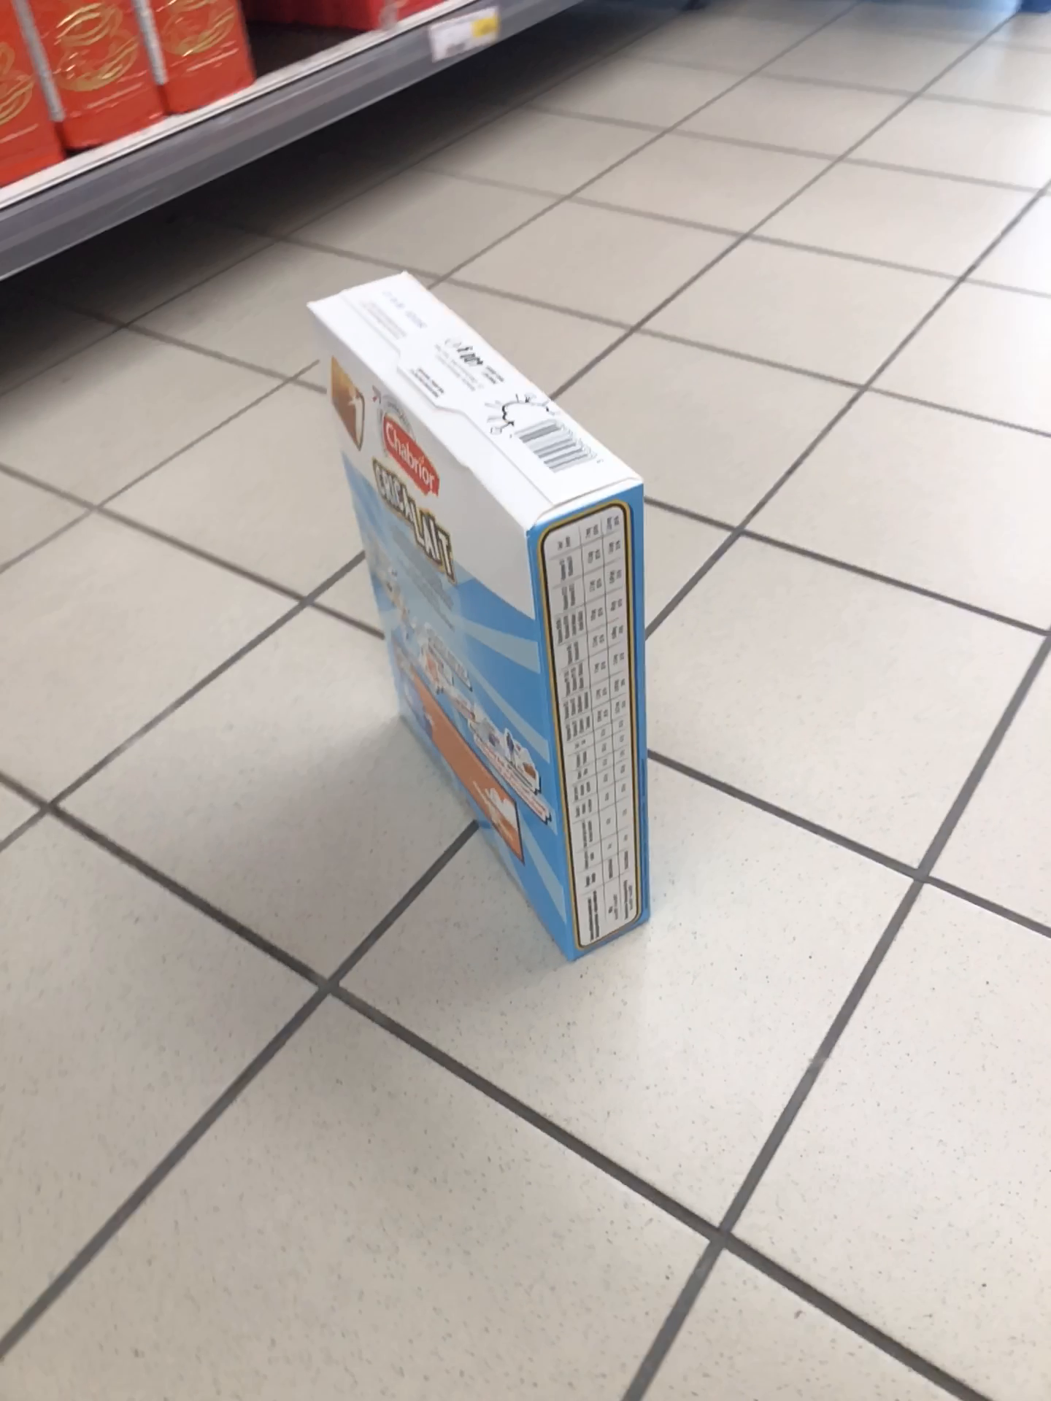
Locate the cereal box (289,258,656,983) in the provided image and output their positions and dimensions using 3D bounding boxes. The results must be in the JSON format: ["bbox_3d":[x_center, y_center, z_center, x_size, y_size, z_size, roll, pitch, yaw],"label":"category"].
[{"bbox_3d":[-0.021,-0.031,0.507,0.050,0.249,0.201,-23,47,-18],"label":"cereal box"}]
